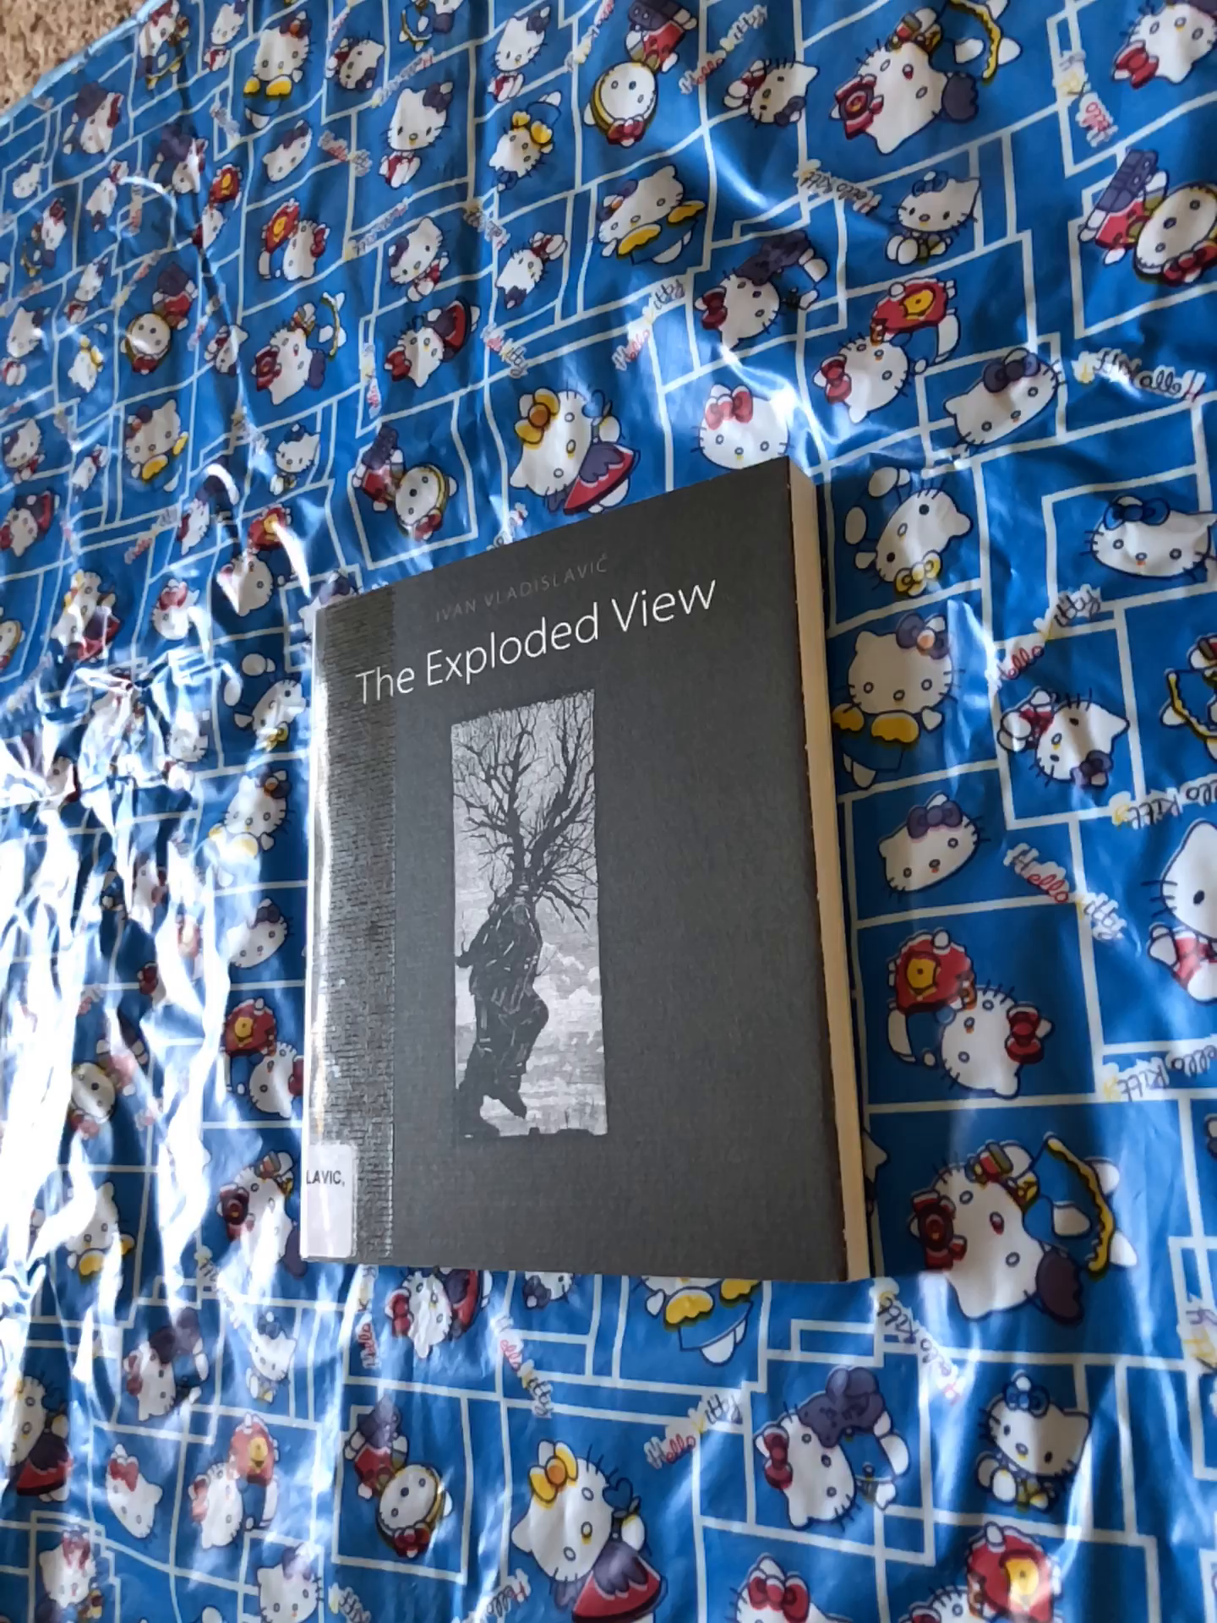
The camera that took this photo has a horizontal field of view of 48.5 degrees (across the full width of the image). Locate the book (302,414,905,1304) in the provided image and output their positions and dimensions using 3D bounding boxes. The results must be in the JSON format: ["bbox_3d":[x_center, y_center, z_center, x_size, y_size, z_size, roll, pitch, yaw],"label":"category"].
[{"bbox_3d":[-0.011,0.015,0.301,0.141,0.020,0.170,-9,77,33],"label":"book"}]
